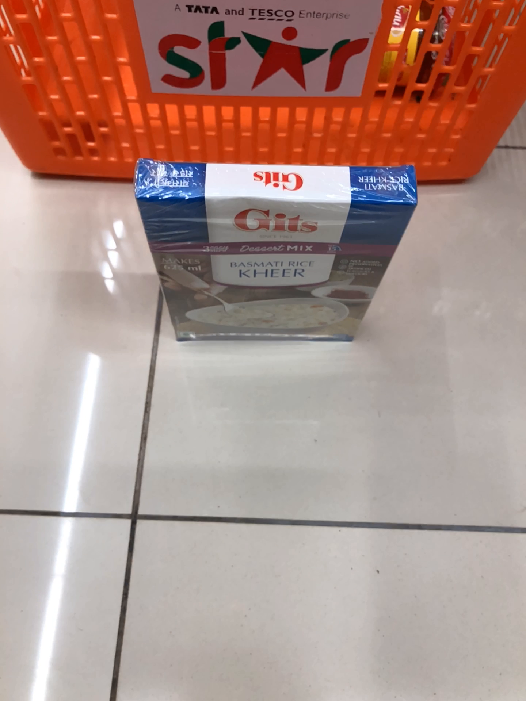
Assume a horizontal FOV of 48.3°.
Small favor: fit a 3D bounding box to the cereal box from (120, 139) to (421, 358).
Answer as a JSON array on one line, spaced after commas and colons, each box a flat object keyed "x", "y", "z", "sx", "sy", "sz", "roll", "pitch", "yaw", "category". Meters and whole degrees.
[{"x": 0.001, "y": -0.042, "z": 0.313, "sx": 0.120, "sy": 0.159, "sz": 0.030, "roll": 0, "pitch": 66, "yaw": -1, "category": "cereal box"}]
